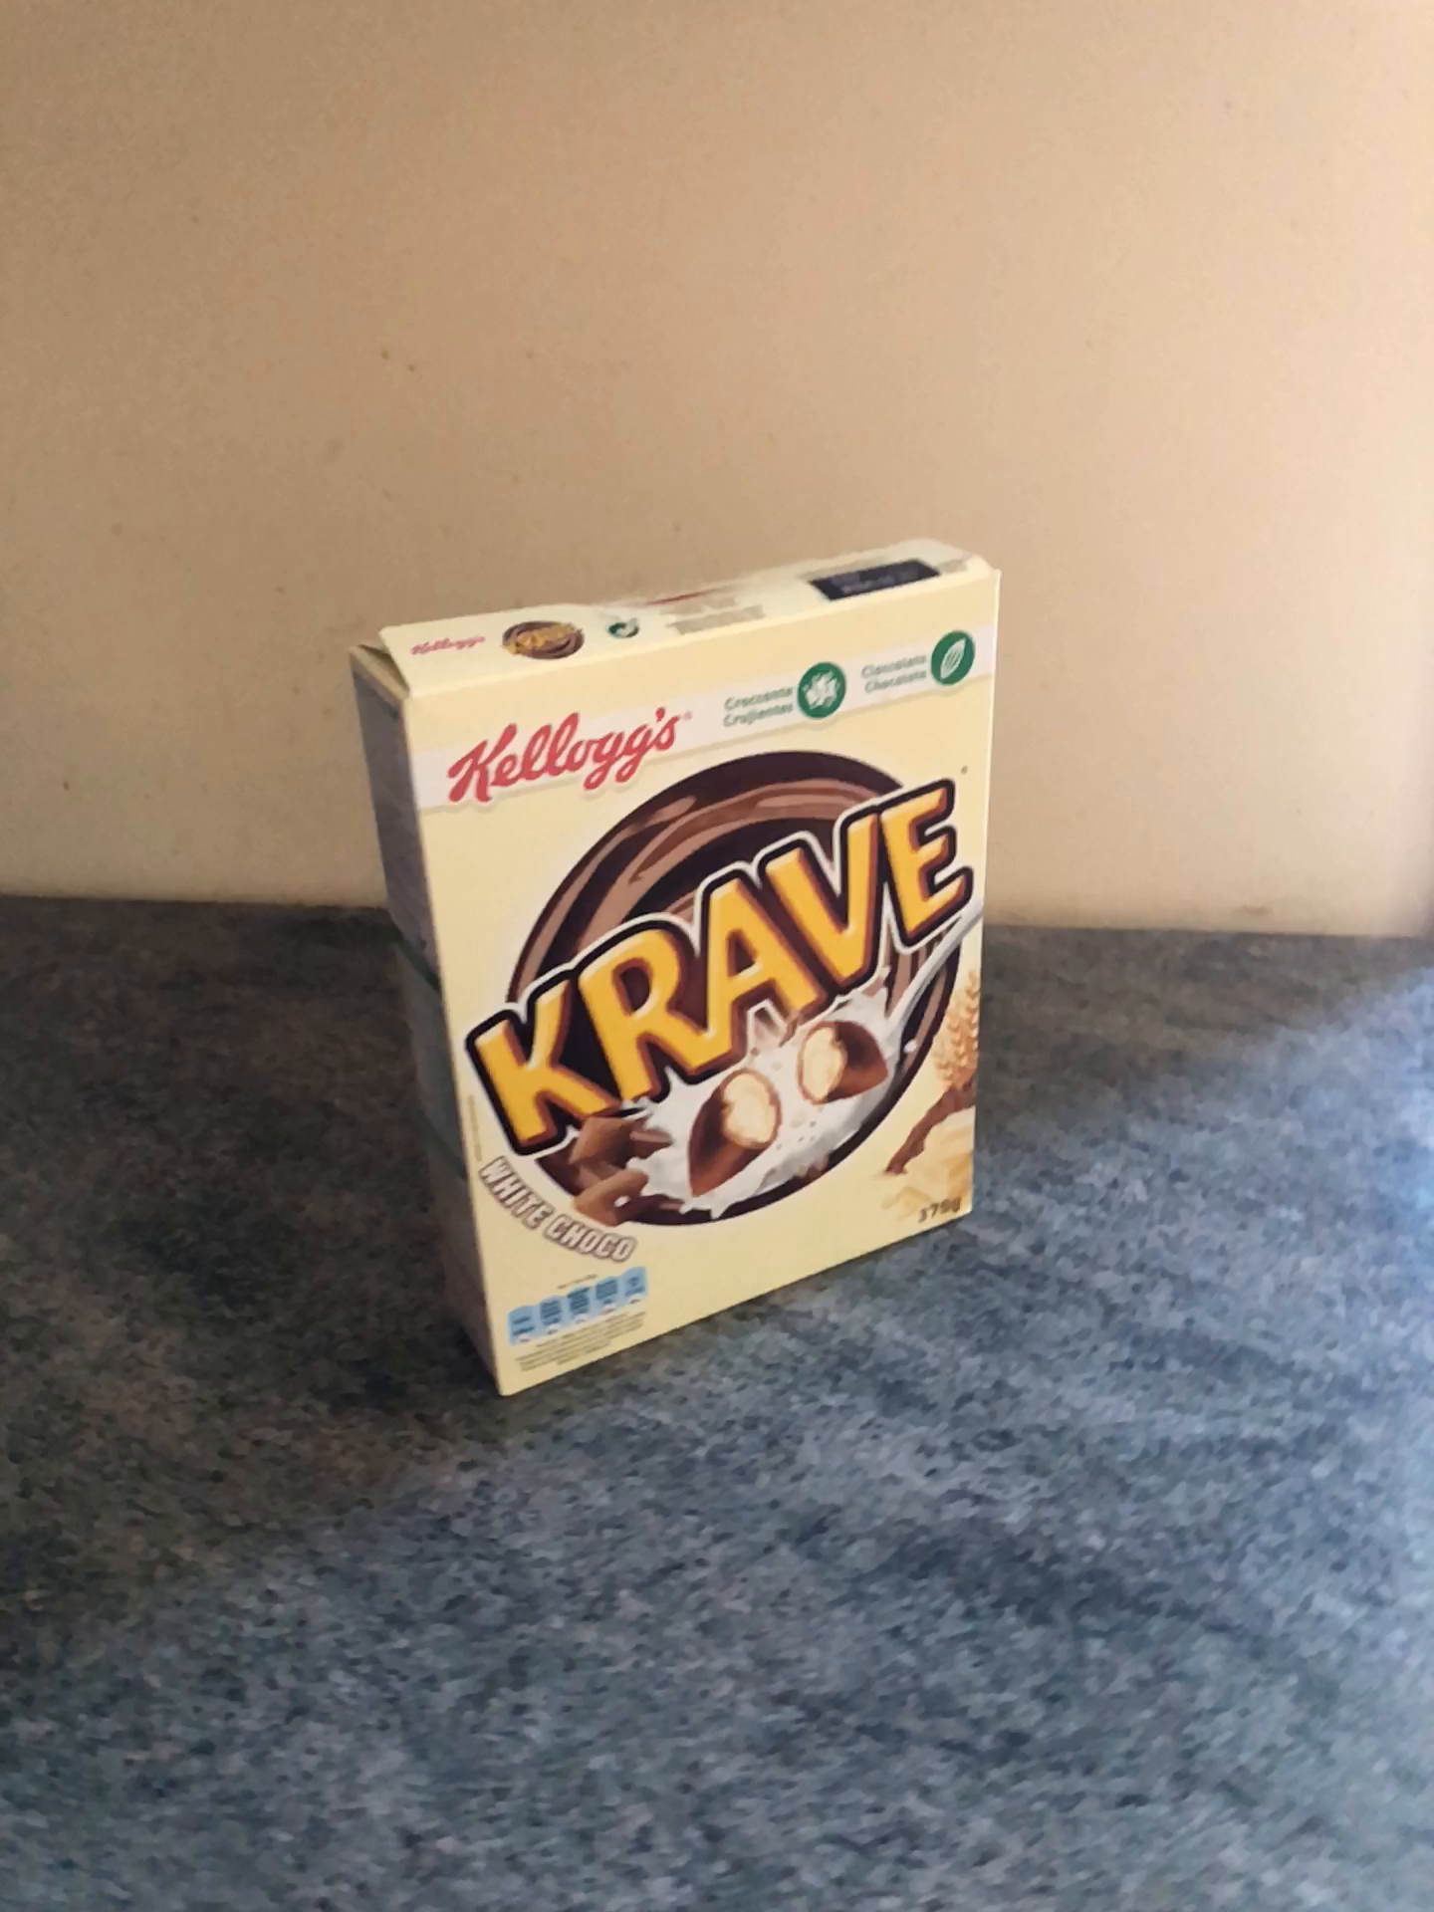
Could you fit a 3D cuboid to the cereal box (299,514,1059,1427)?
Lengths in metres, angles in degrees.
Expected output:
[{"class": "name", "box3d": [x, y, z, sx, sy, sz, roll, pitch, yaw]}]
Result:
[{"class": "cereal box", "box3d": [-0.008, 0.001, 0.514, 0.211, 0.248, 0.070, -15, 34, -26]}]
